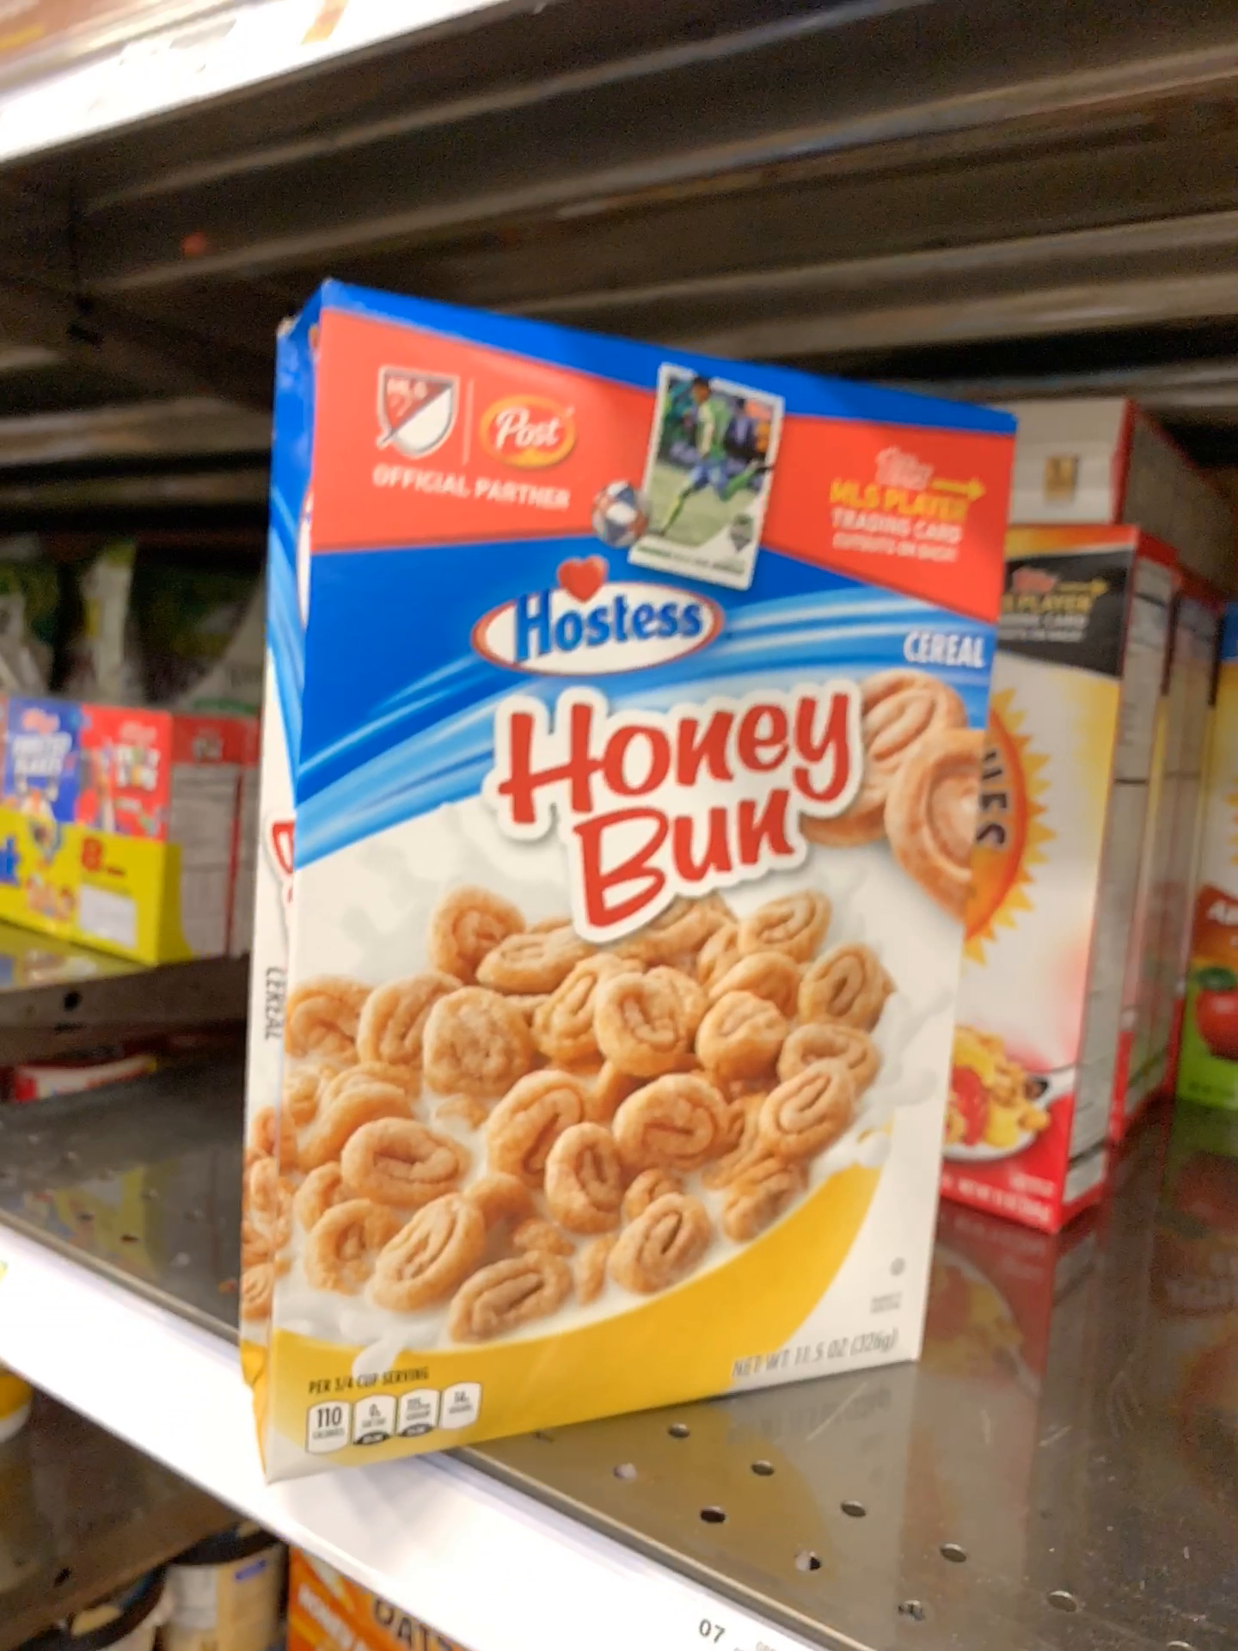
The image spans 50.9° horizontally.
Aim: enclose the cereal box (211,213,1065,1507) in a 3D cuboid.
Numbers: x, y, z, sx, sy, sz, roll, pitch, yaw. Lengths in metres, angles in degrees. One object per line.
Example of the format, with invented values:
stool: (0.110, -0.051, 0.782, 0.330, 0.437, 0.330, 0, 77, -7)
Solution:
cereal box: (0.005, 0.013, 0.346, 0.200, 0.280, 0.060, 2, 5, -24)
